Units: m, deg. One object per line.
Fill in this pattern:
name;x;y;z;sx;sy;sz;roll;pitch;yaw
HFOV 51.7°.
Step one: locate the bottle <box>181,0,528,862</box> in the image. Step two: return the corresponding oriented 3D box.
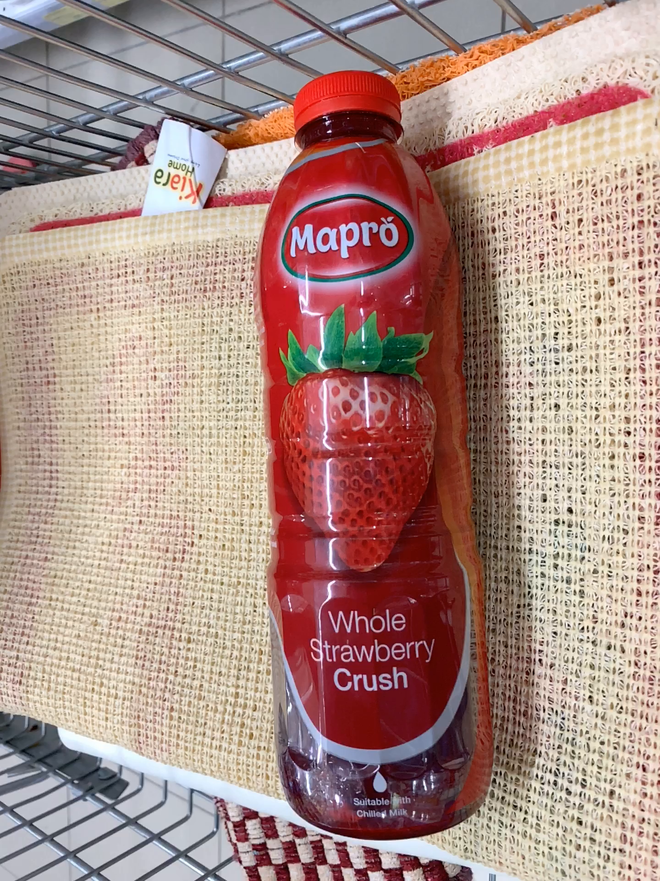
bottle;0.012;0.000;0.236;0.090;0.070;0.250;-3;93;9
